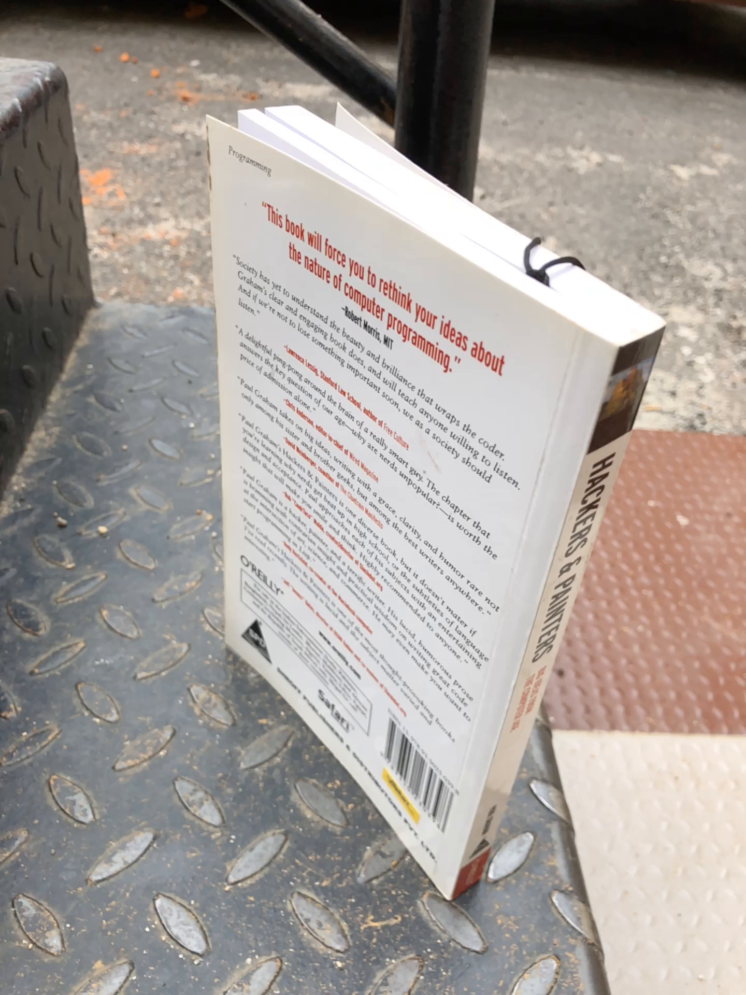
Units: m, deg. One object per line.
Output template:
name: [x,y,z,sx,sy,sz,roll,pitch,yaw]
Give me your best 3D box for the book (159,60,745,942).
book: [-0.006,0.011,0.257,0.030,0.219,0.170,-23,50,-28]
